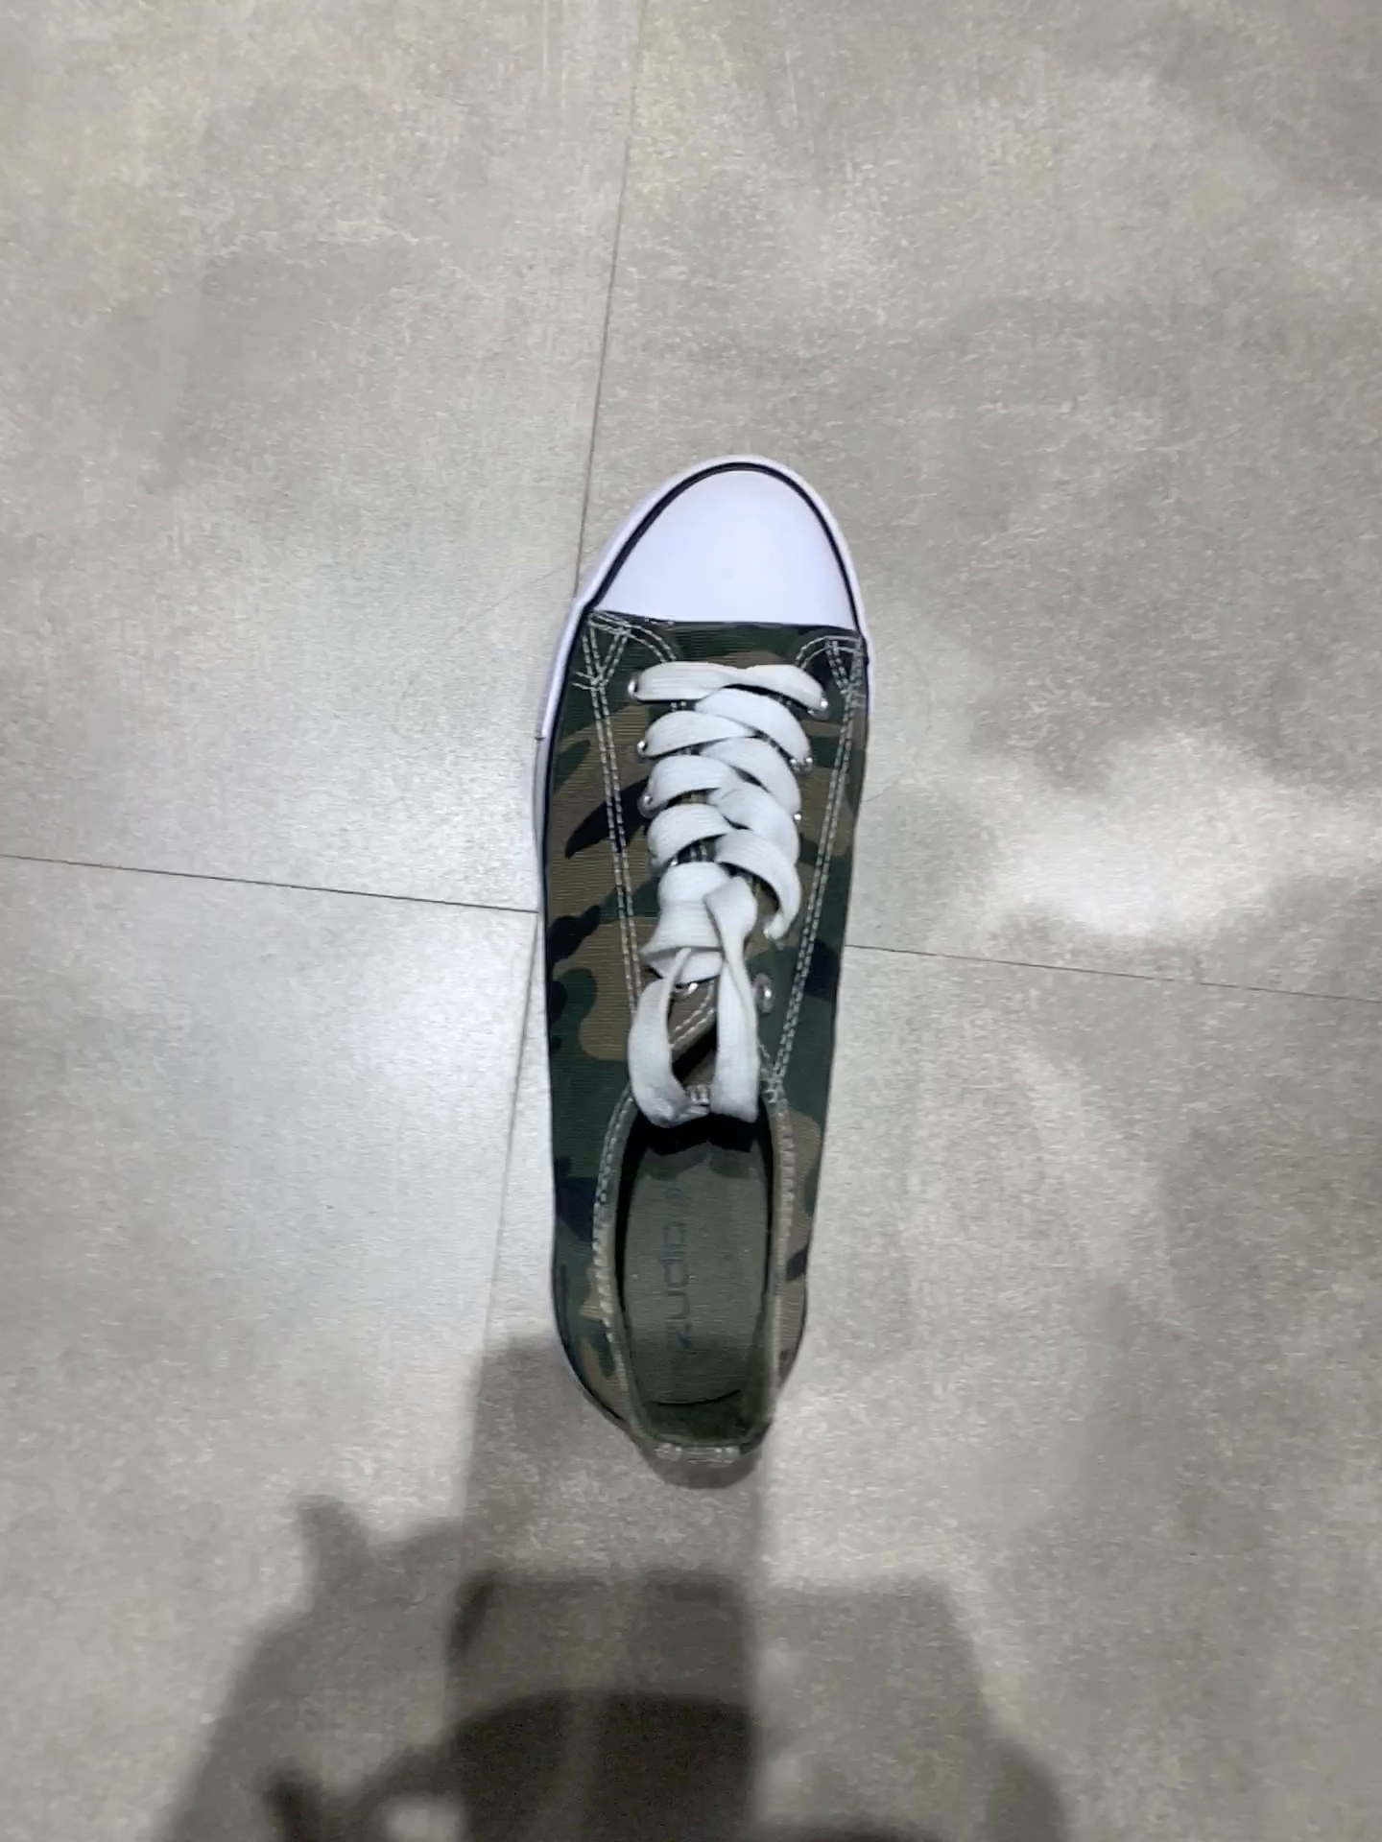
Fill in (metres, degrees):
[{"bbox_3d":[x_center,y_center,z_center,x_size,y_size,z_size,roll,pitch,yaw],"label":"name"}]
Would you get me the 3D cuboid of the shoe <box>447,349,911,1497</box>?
[{"bbox_3d":[-0.002,-0.001,0.364,0.099,0.079,0.266,2,80,-3],"label":"shoe"}]
